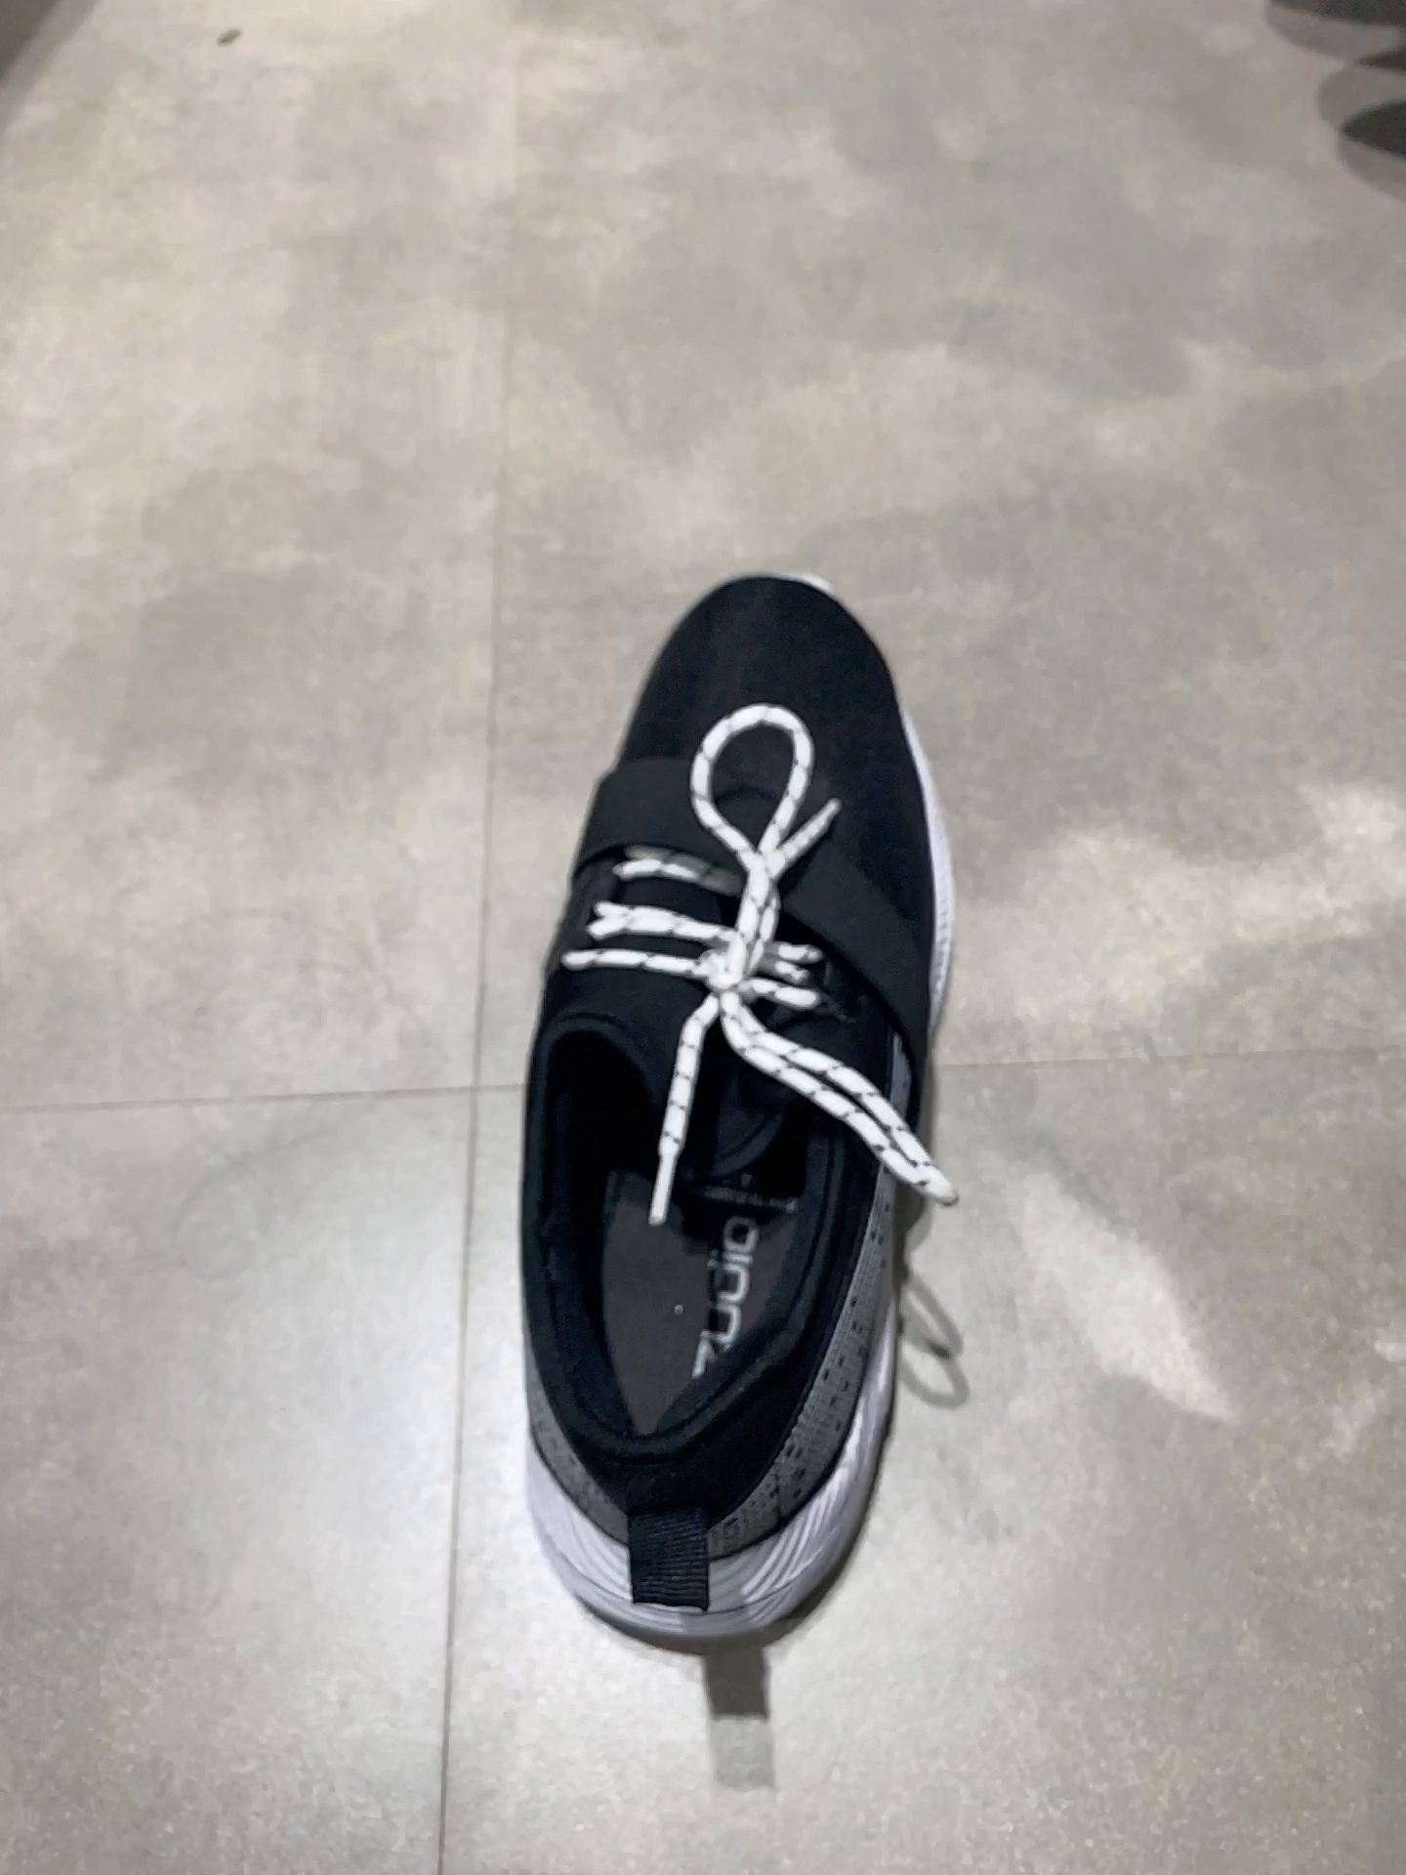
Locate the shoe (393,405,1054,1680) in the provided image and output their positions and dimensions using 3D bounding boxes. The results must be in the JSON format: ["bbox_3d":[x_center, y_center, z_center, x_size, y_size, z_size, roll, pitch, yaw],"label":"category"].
[{"bbox_3d":[0.022,0.019,0.393,0.116,0.132,0.305,6,61,5],"label":"shoe"}]
